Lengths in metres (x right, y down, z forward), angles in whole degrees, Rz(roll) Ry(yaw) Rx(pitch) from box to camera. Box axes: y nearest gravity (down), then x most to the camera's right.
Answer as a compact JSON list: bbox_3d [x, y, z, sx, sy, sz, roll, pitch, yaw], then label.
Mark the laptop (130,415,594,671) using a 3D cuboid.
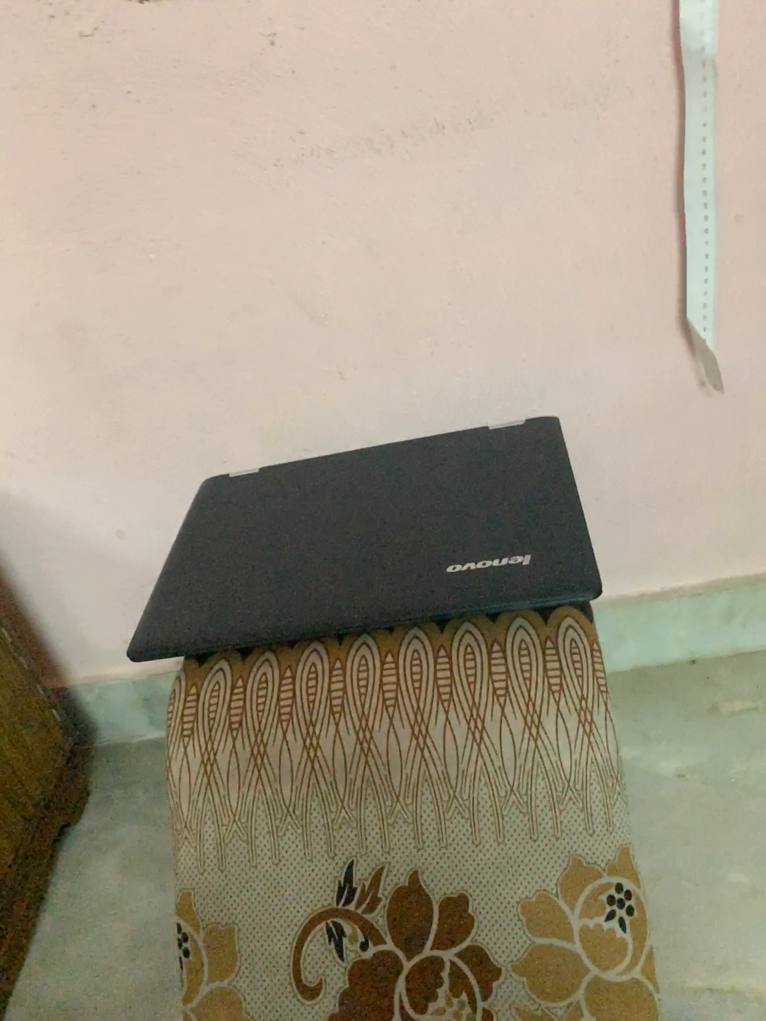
[{"bbox_3d":[-0.014,0.016,0.598,0.313,0.012,0.214,-10,36,11],"label":"laptop"}]
